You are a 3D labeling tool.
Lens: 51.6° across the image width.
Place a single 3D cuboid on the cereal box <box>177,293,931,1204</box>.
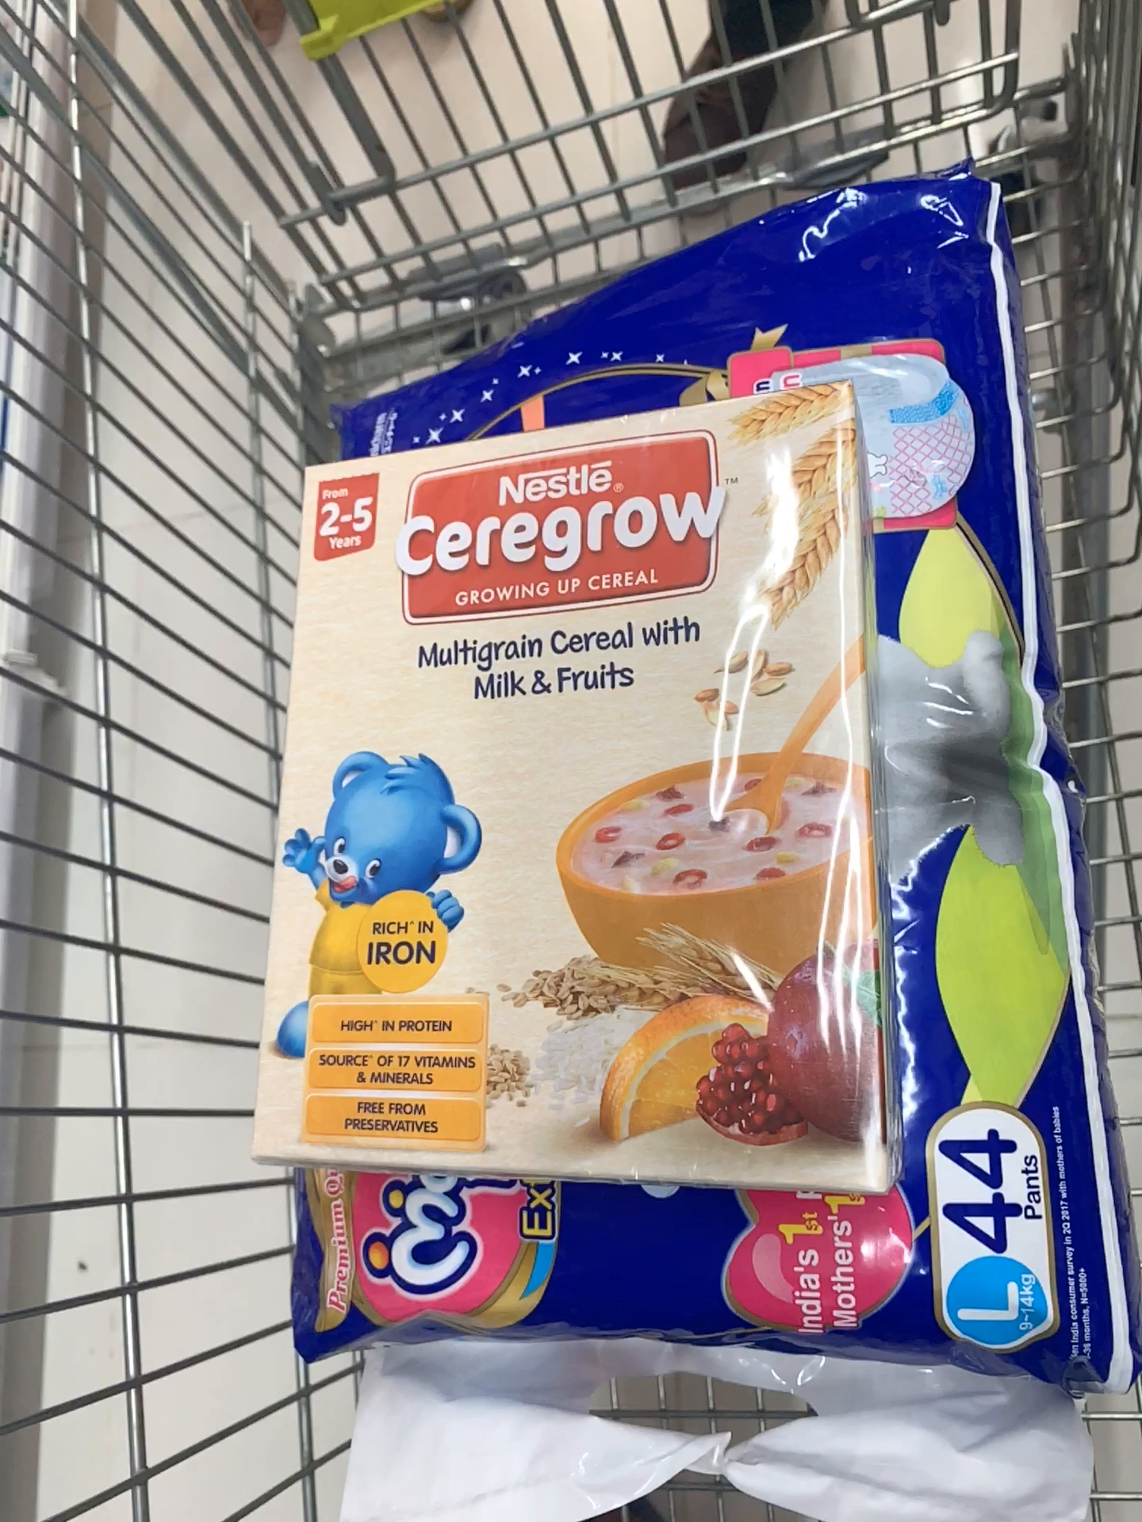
[{"bbox_3d":[-0.003,0.000,0.286,0.160,0.050,0.190,-4,75,18],"label":"cereal box"}]
